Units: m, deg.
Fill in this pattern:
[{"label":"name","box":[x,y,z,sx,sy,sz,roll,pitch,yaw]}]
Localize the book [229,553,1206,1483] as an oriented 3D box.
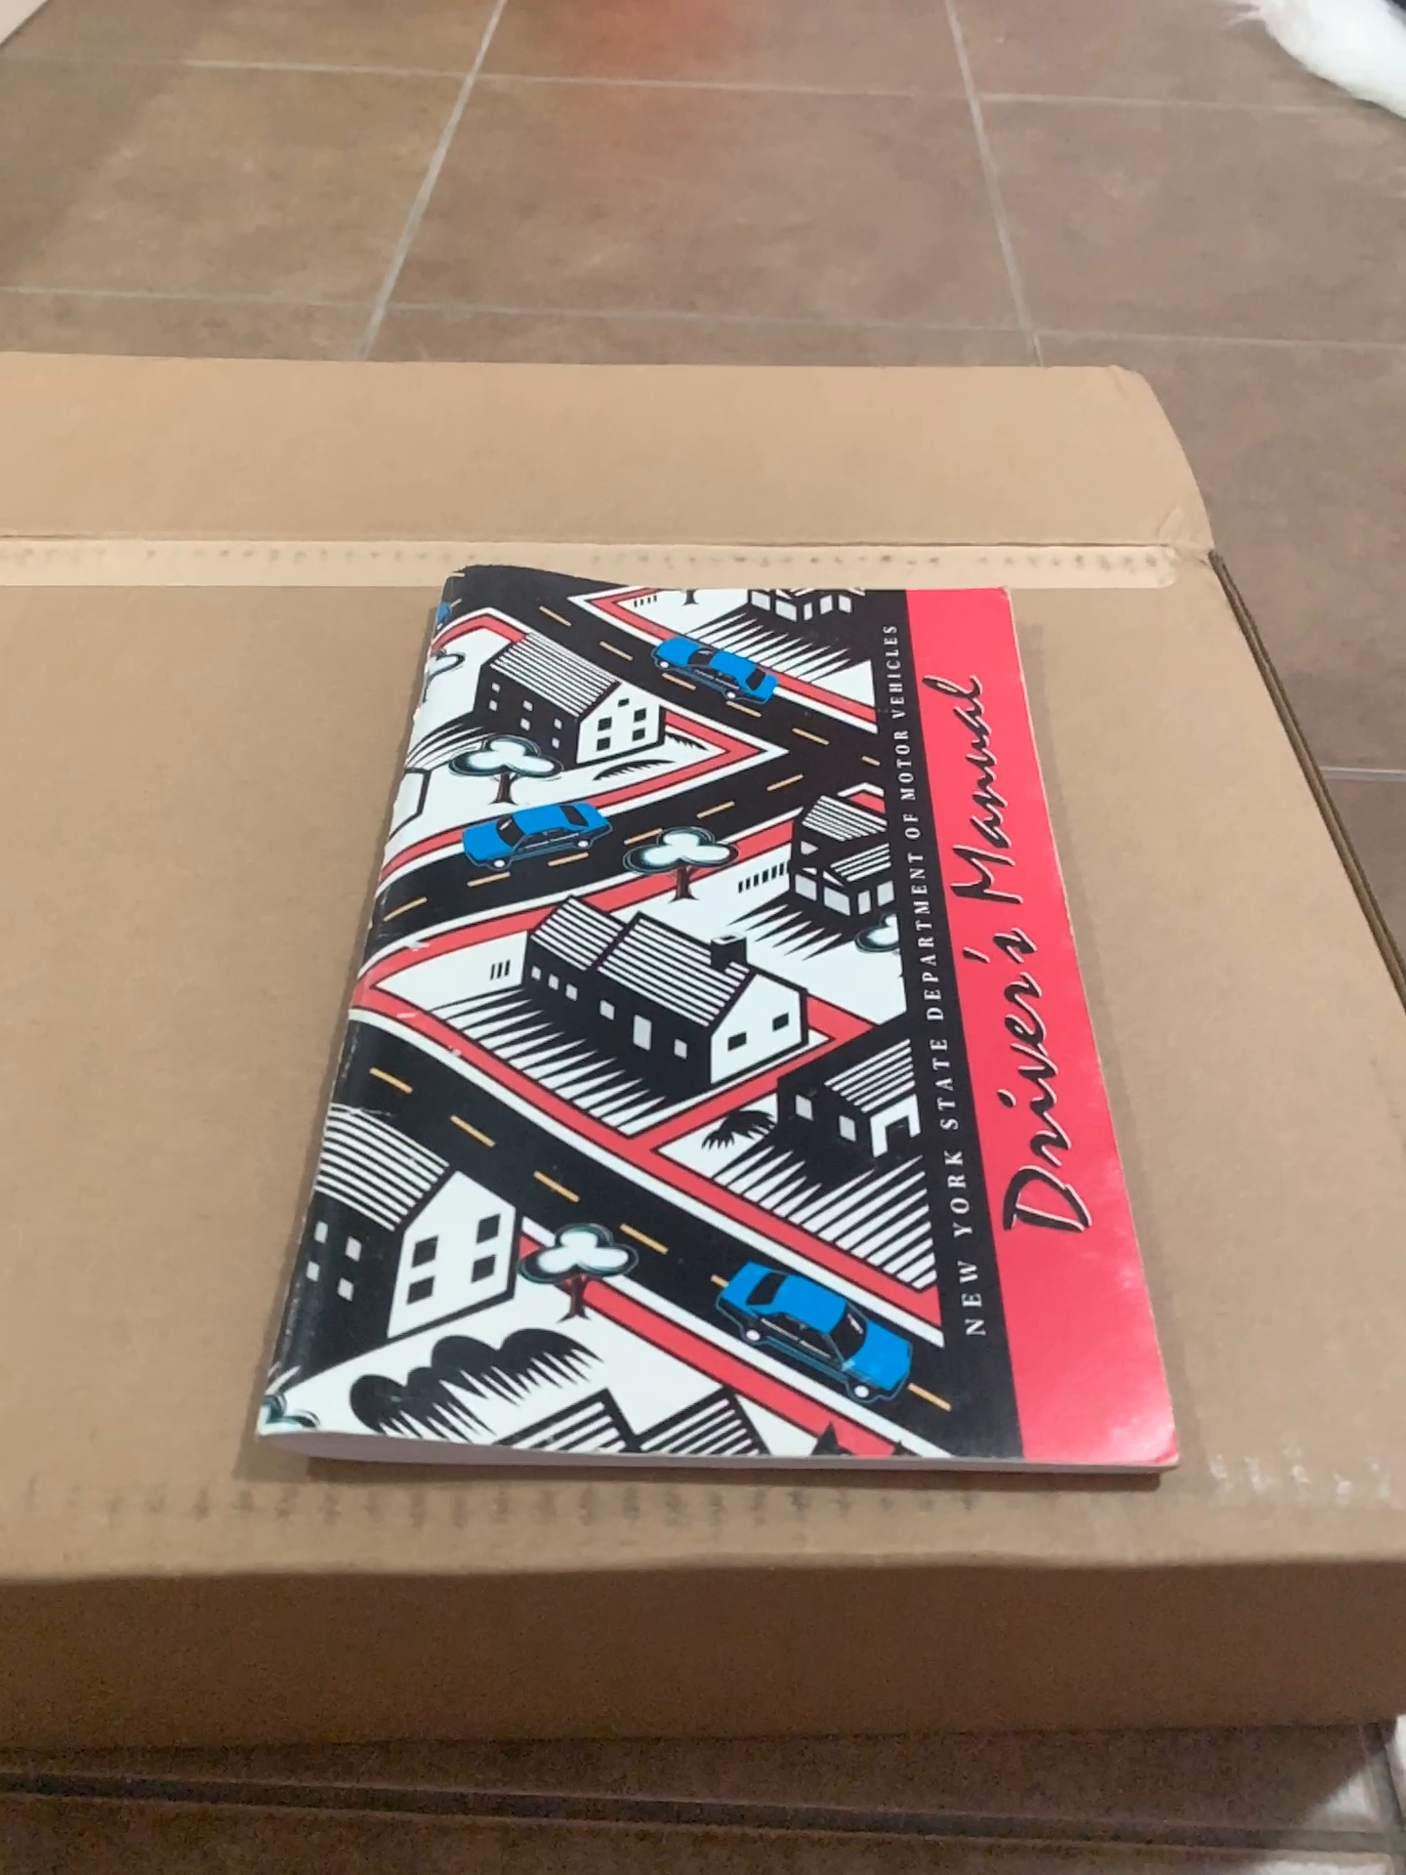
[{"label":"book","box":[0.004,-0.005,0.271,0.133,0.013,0.208,2,48,0]}]
